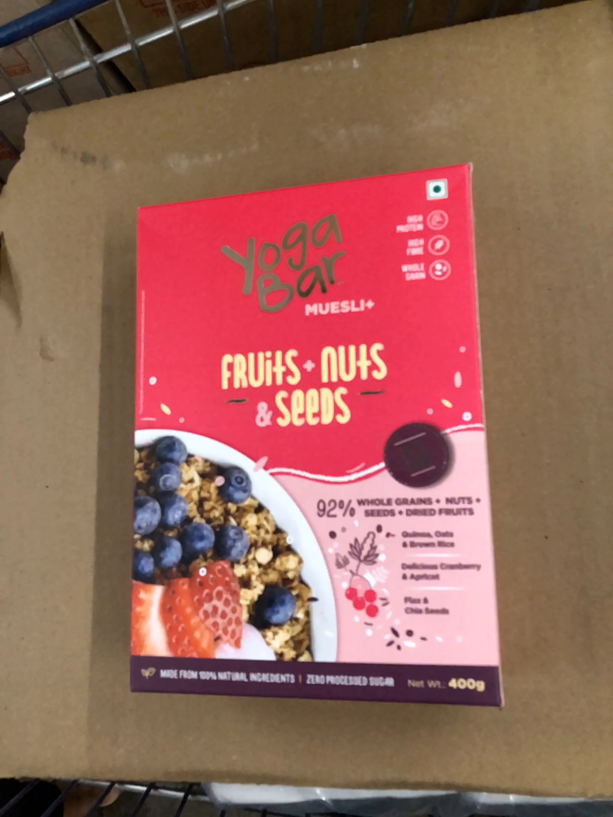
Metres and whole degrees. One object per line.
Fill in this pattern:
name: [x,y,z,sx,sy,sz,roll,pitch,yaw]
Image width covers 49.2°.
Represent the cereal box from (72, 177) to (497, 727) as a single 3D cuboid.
cereal box: [-0.010,0.018,0.302,0.170,0.060,0.210,-2,83,12]
